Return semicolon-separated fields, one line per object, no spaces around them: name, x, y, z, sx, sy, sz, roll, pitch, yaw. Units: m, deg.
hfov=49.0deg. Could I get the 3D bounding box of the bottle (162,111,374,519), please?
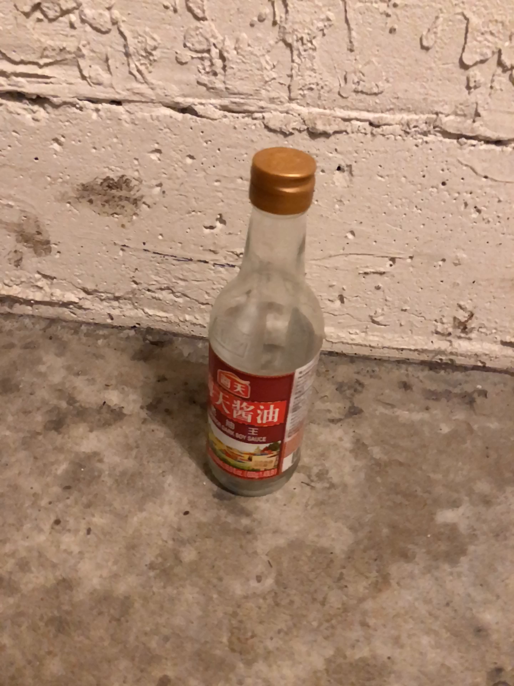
bottle;0.002;-0.002;0.331;0.070;0.228;0.070;2;42;-2
